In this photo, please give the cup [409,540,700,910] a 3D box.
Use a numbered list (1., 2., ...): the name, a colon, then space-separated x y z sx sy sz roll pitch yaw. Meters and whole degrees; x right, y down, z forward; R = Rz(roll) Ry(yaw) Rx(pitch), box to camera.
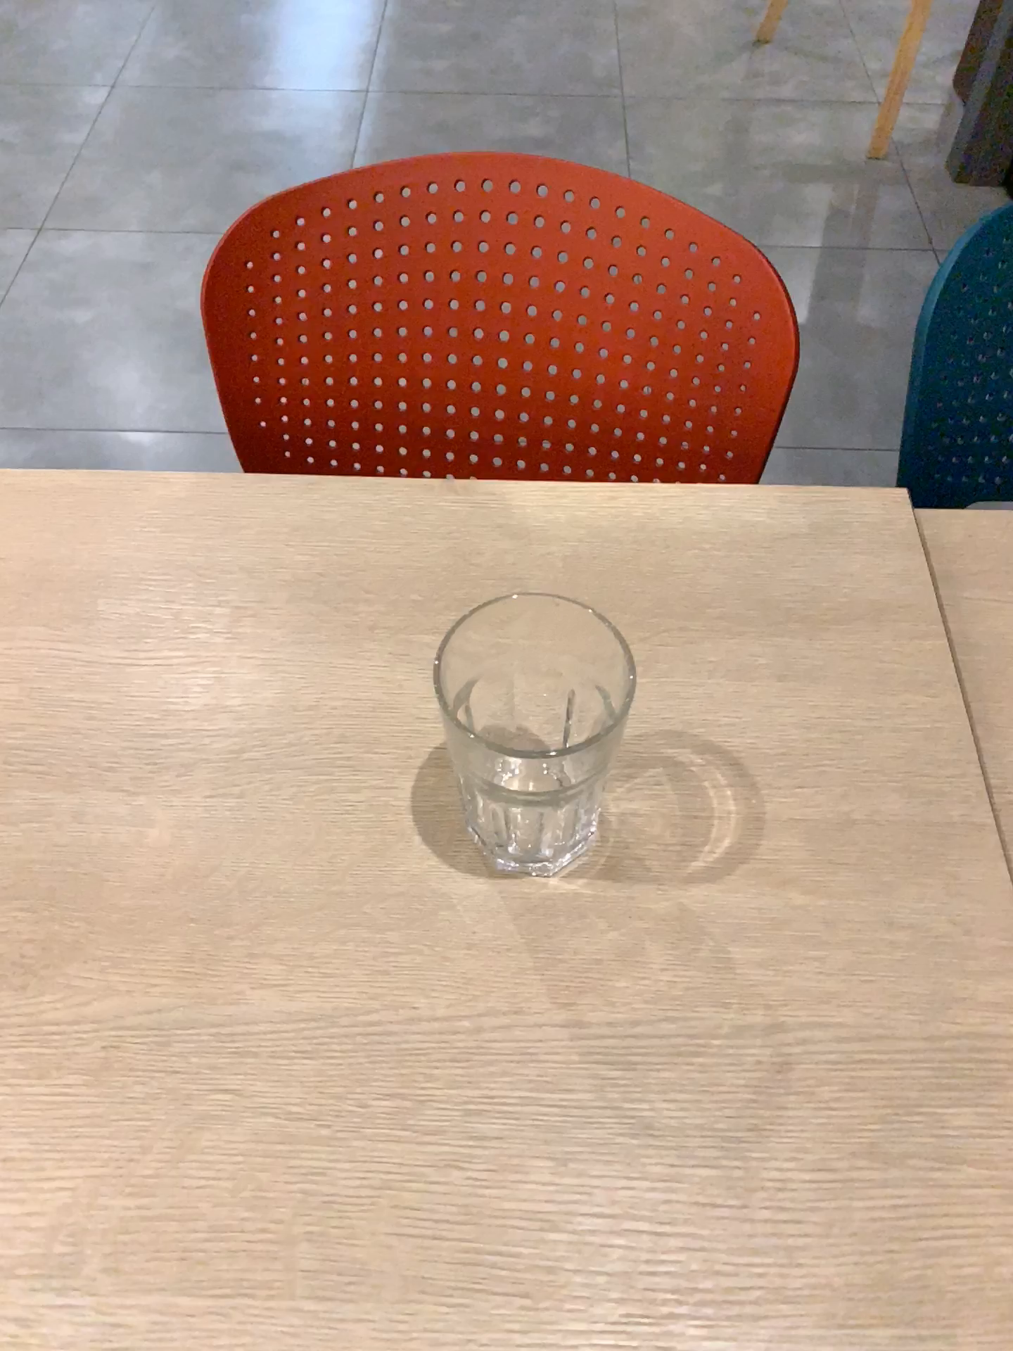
1. cup: 0.016 0.024 0.442 0.080 0.120 0.080 0 54 -1
